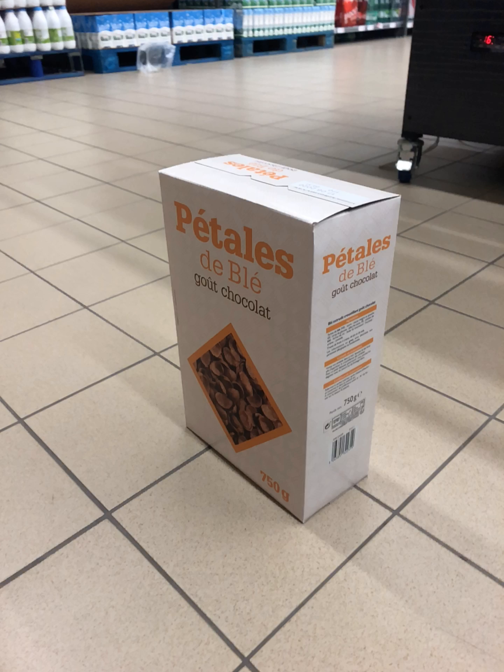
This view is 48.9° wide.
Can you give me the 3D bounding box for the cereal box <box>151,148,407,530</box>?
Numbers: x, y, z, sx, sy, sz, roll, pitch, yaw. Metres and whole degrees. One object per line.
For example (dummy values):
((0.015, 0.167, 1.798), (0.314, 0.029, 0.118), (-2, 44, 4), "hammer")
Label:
((0.017, -0.003, 0.515), (0.100, 0.288, 0.190), (-26, 38, -35), "cereal box")
